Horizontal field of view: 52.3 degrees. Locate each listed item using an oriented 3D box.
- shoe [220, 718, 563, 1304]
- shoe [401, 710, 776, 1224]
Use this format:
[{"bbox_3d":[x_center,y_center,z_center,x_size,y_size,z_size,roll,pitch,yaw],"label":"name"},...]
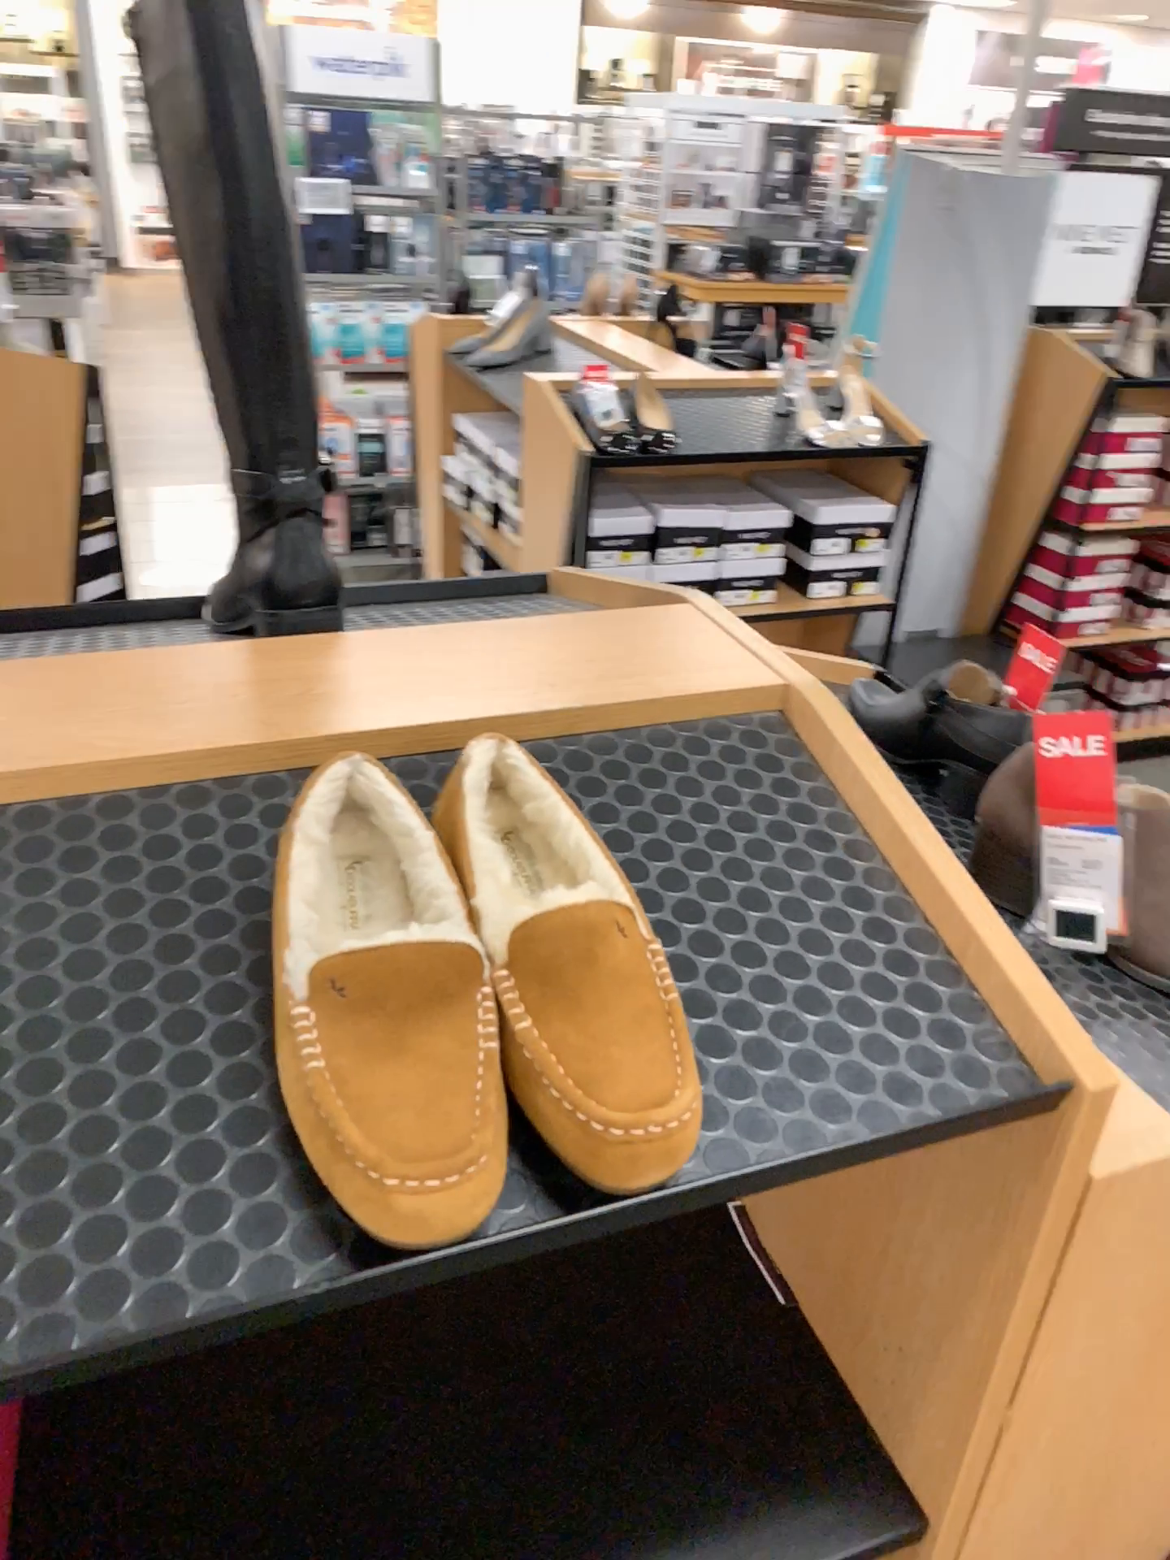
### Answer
[{"bbox_3d":[-0.099,0.080,0.533,0.090,0.060,0.272,-7,41,-20],"label":"shoe"},{"bbox_3d":[-0.013,0.069,0.559,0.090,0.060,0.251,-7,41,-20],"label":"shoe"}]
